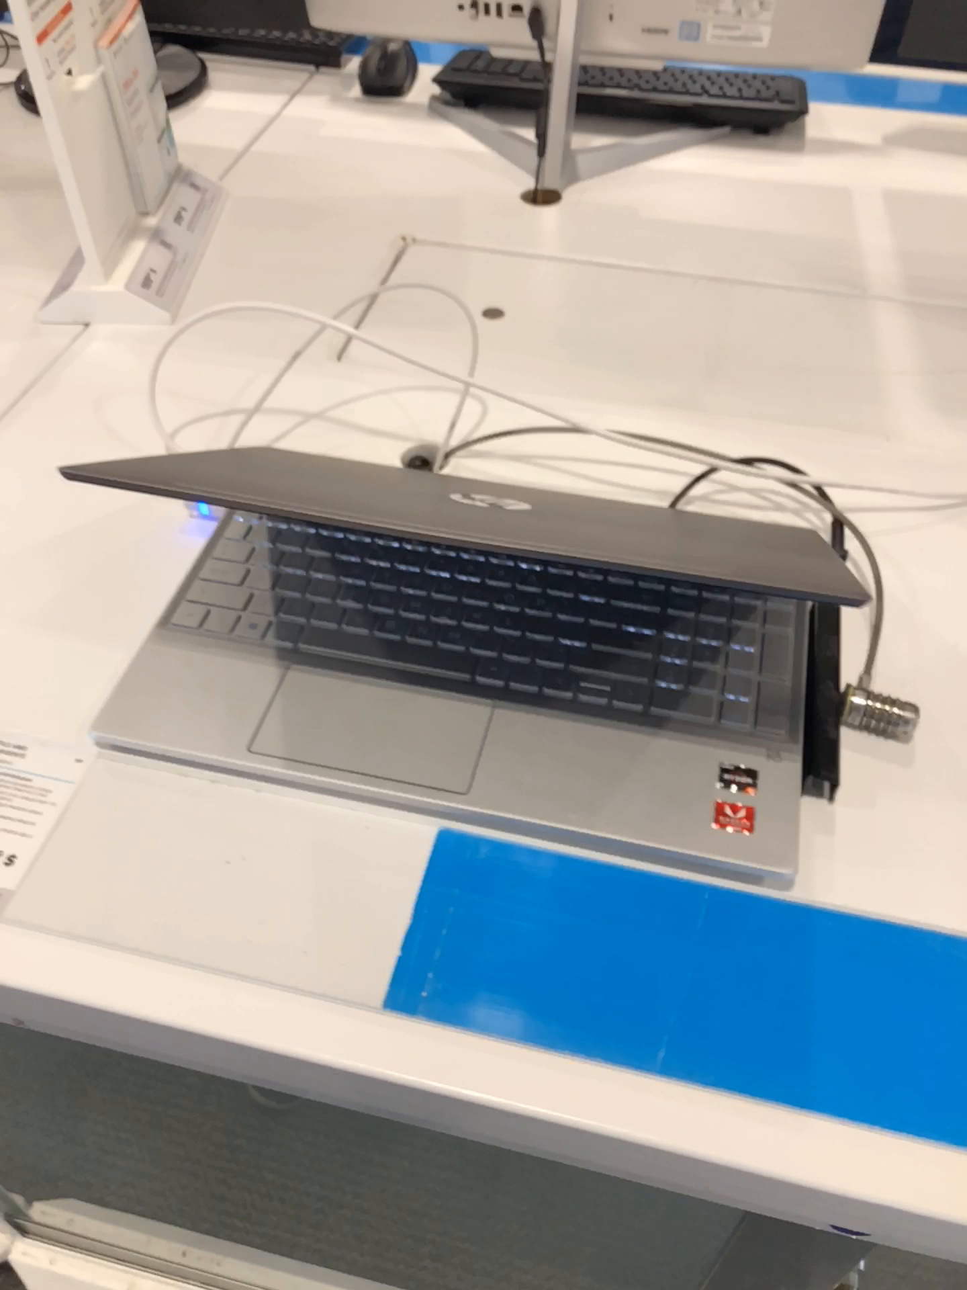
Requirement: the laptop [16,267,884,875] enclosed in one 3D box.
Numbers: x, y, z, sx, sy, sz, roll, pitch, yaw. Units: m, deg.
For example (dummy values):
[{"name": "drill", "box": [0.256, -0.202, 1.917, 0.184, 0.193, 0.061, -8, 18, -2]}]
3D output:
[{"name": "laptop", "box": [0.002, -0.054, 0.541, 0.350, 0.134, 0.232, 10, 48, 10]}]
